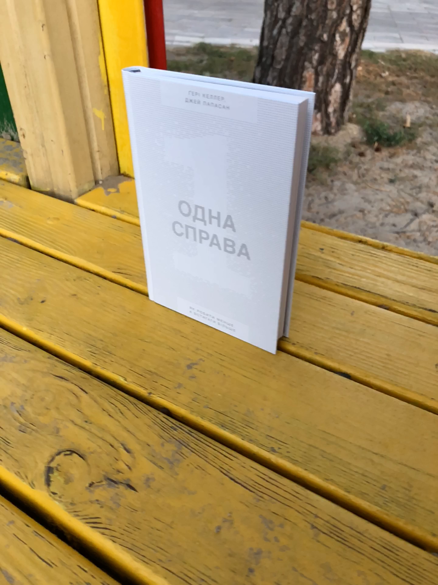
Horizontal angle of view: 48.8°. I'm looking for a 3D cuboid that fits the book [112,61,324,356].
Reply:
[{"bbox_3d":[-0.005,-0.062,0.392,0.154,0.208,0.030,22,43,26],"label":"book"}]
